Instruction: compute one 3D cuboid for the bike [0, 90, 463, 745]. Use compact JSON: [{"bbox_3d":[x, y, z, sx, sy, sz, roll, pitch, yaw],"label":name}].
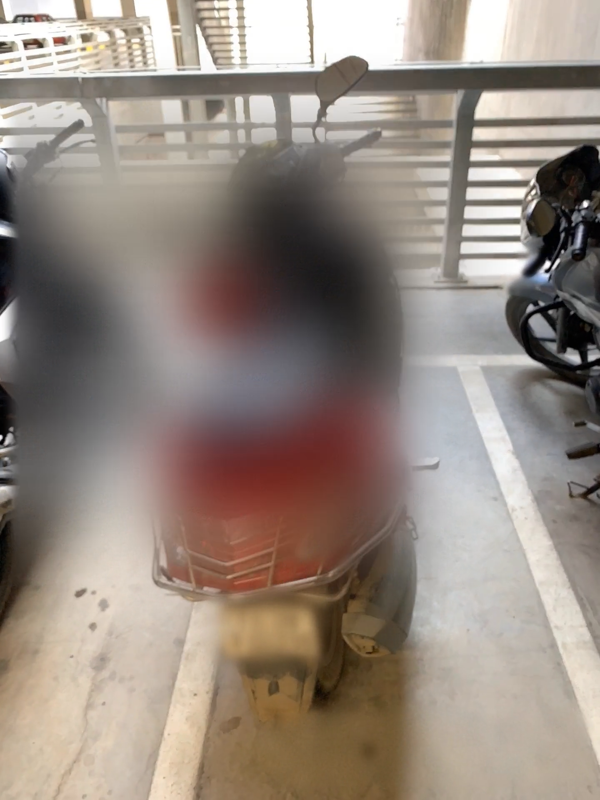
[{"bbox_3d":[-0.098,-0.194,1.954,0.724,1.165,1.858,0,33,2],"label":"bike"}]
